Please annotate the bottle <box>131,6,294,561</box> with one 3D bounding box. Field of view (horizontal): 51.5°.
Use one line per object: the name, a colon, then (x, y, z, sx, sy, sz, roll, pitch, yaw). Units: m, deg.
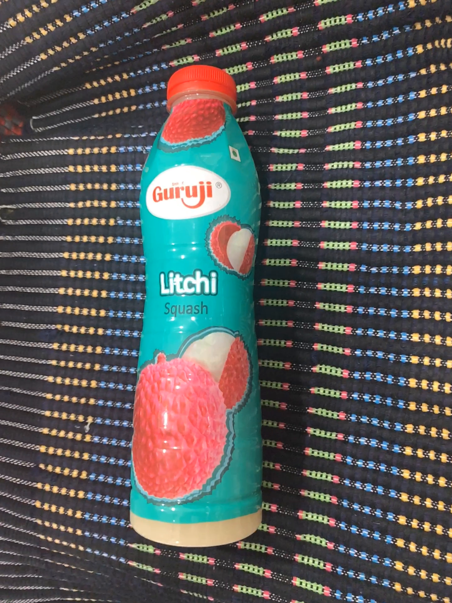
bottle: (0.000, -0.015, 0.278, 0.070, 0.080, 0.280, -2, 80, 13)
